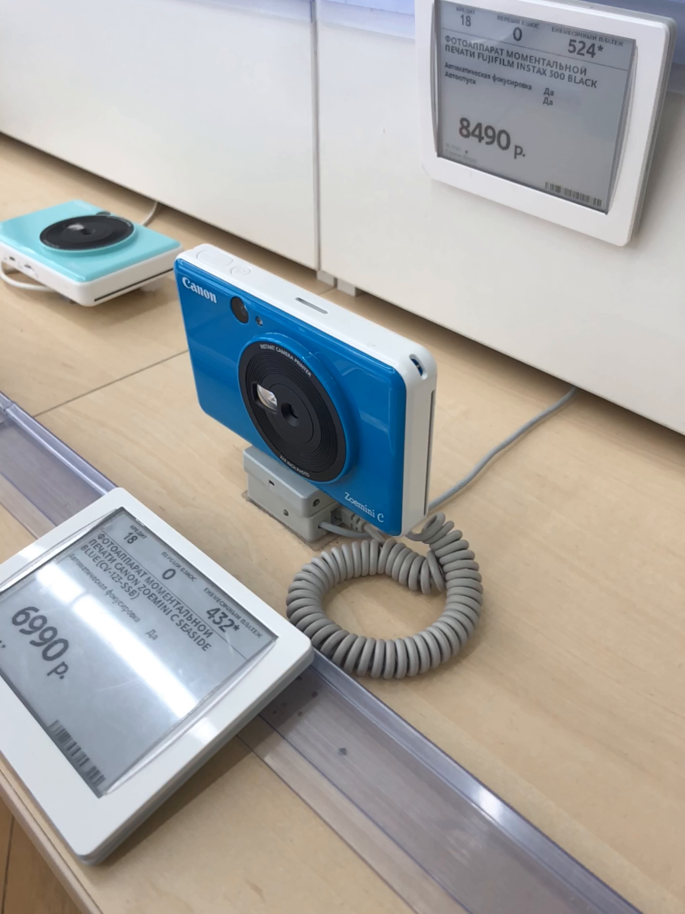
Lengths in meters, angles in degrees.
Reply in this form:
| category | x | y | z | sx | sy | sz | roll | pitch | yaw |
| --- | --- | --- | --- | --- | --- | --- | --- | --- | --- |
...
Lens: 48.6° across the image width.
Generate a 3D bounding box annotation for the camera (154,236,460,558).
| category | x | y | z | sx | sy | sz | roll | pitch | yaw |
| --- | --- | --- | --- | --- | --- | --- | --- | --- | --- |
| camera | -0.015 | -0.026 | 0.277 | 0.030 | 0.070 | 0.120 | -34 | 49 | -30 |
